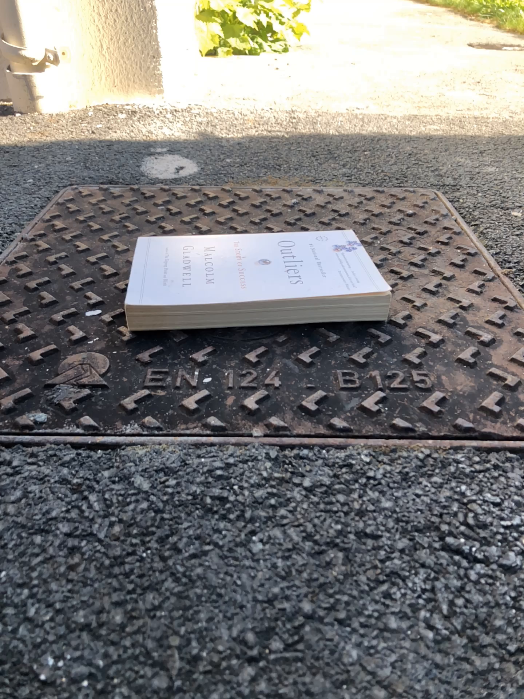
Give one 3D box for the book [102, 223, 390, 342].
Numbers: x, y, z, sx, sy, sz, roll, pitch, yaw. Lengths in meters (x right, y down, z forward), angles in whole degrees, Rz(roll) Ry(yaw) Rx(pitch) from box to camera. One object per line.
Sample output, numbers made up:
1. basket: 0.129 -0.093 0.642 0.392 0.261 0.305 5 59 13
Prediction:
1. book: -0.017 -0.063 0.483 0.209 0.030 0.140 -3 34 -6
